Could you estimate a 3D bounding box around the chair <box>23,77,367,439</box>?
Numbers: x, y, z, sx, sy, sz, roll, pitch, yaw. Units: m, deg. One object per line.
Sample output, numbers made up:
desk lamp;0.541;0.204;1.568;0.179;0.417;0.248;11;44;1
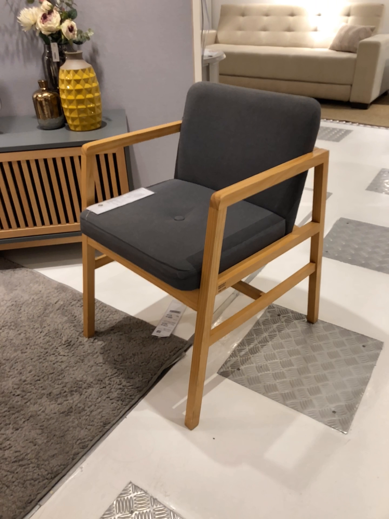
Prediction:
chair;0.026;-0.087;1.299;0.703;0.734;0.562;-28;40;-37
